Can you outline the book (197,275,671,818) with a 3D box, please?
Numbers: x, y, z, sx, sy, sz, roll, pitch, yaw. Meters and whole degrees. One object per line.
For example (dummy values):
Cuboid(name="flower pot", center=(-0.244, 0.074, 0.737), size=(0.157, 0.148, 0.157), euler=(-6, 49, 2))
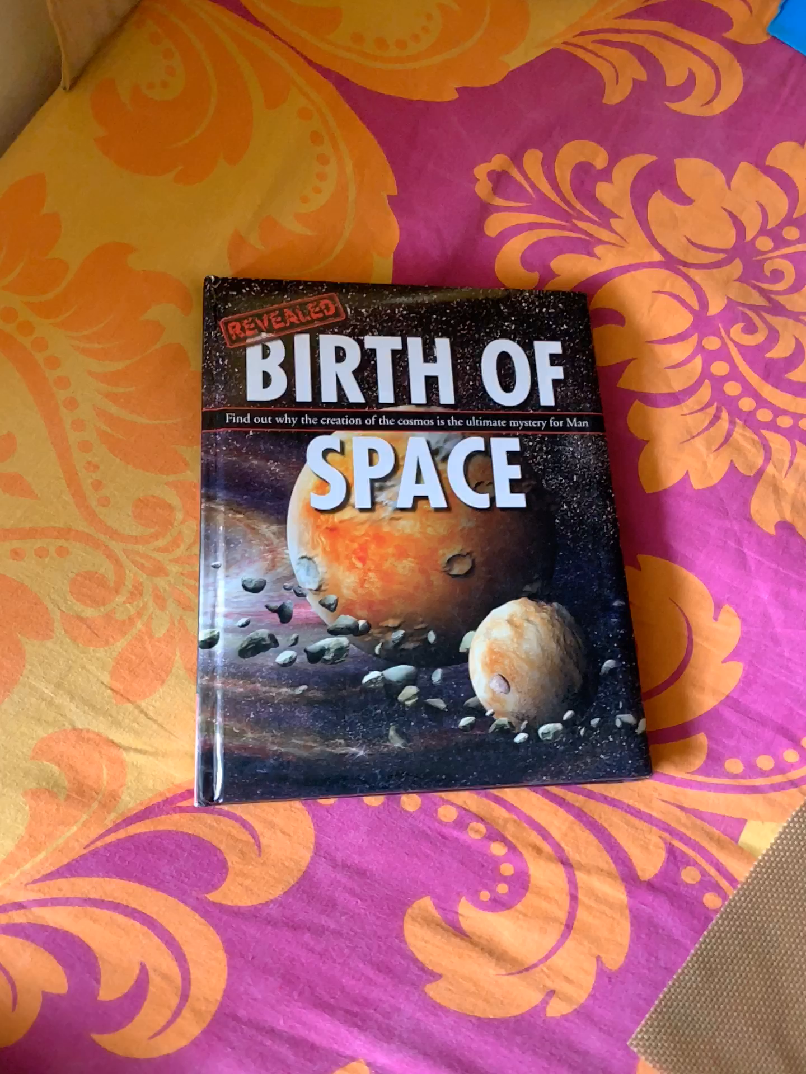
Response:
Cuboid(name="book", center=(0.010, -0.005, 0.406), size=(0.211, 0.020, 0.258), euler=(0, 74, -9))
